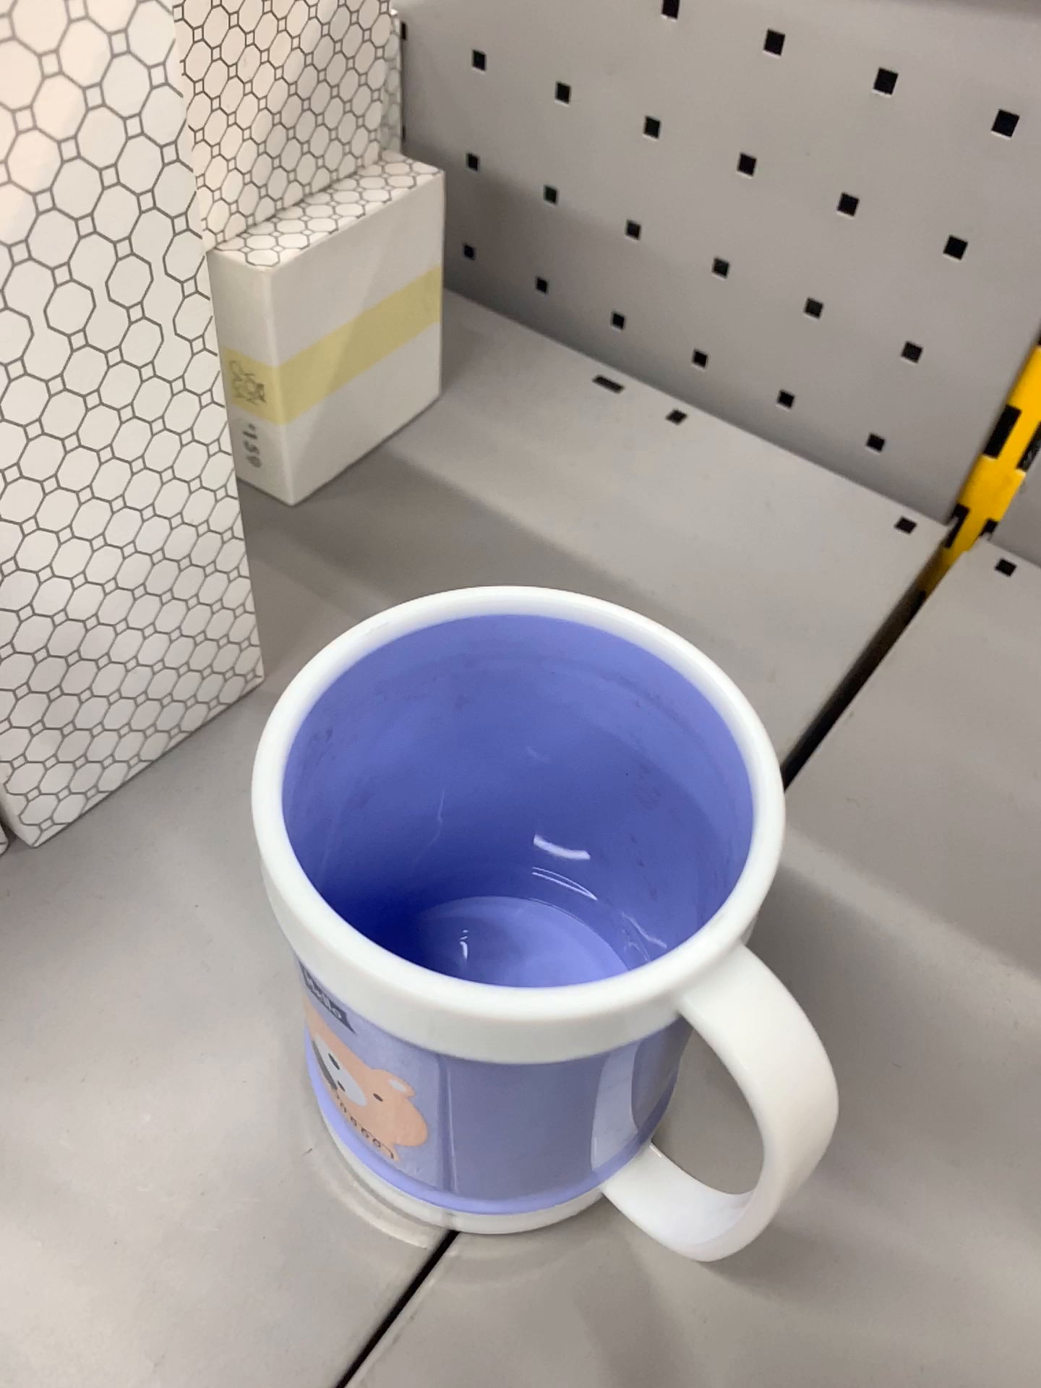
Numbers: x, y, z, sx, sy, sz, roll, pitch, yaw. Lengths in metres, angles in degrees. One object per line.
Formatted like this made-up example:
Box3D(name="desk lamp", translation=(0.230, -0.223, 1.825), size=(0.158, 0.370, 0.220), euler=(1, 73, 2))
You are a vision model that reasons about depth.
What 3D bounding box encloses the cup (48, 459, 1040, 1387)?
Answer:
Box3D(name="cup", translation=(0.005, 0.047, 0.185), size=(0.120, 0.100, 0.090), euler=(39, 56, 24))
